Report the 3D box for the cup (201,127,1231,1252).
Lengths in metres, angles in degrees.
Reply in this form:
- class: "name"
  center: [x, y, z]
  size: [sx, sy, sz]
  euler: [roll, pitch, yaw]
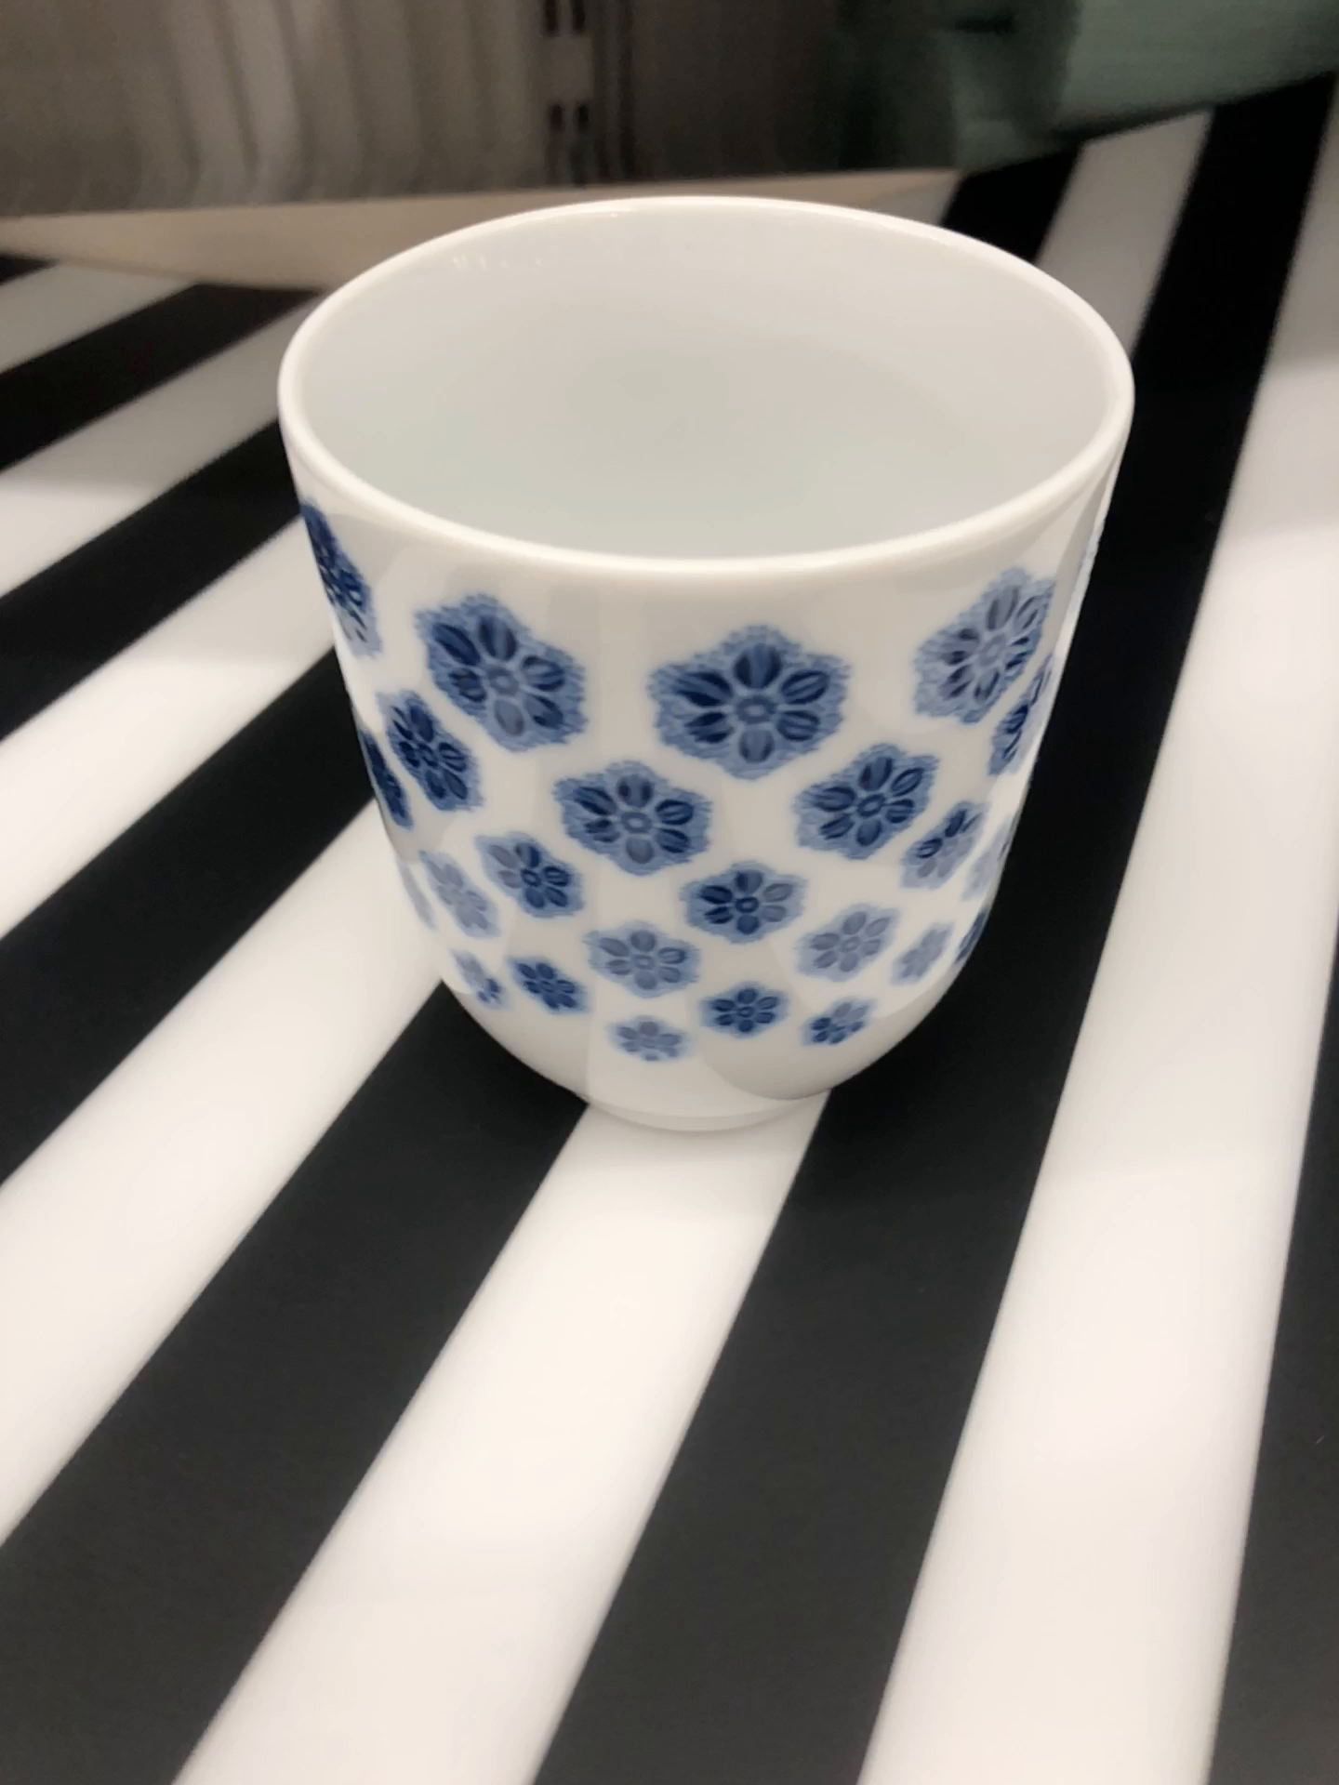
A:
- class: "cup"
  center: [0.000, -0.023, 0.159]
  size: [0.070, 0.080, 0.080]
  euler: [-5, 44, -4]
